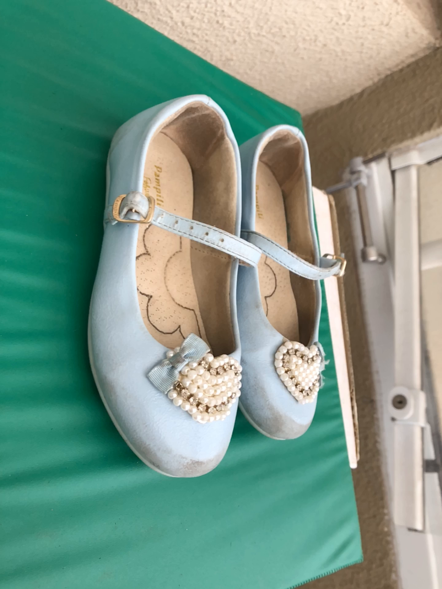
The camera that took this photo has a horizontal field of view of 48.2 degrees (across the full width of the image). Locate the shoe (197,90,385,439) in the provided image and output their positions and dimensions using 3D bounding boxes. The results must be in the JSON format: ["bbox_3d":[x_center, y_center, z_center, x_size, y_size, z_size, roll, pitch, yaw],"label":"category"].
[{"bbox_3d":[0.038,-0.012,0.276,0.081,0.050,0.170,10,71,-46],"label":"shoe"}]

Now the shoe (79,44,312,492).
[{"bbox_3d":[-0.013,-0.008,0.227,0.087,0.050,0.170,10,71,-46],"label":"shoe"}]
